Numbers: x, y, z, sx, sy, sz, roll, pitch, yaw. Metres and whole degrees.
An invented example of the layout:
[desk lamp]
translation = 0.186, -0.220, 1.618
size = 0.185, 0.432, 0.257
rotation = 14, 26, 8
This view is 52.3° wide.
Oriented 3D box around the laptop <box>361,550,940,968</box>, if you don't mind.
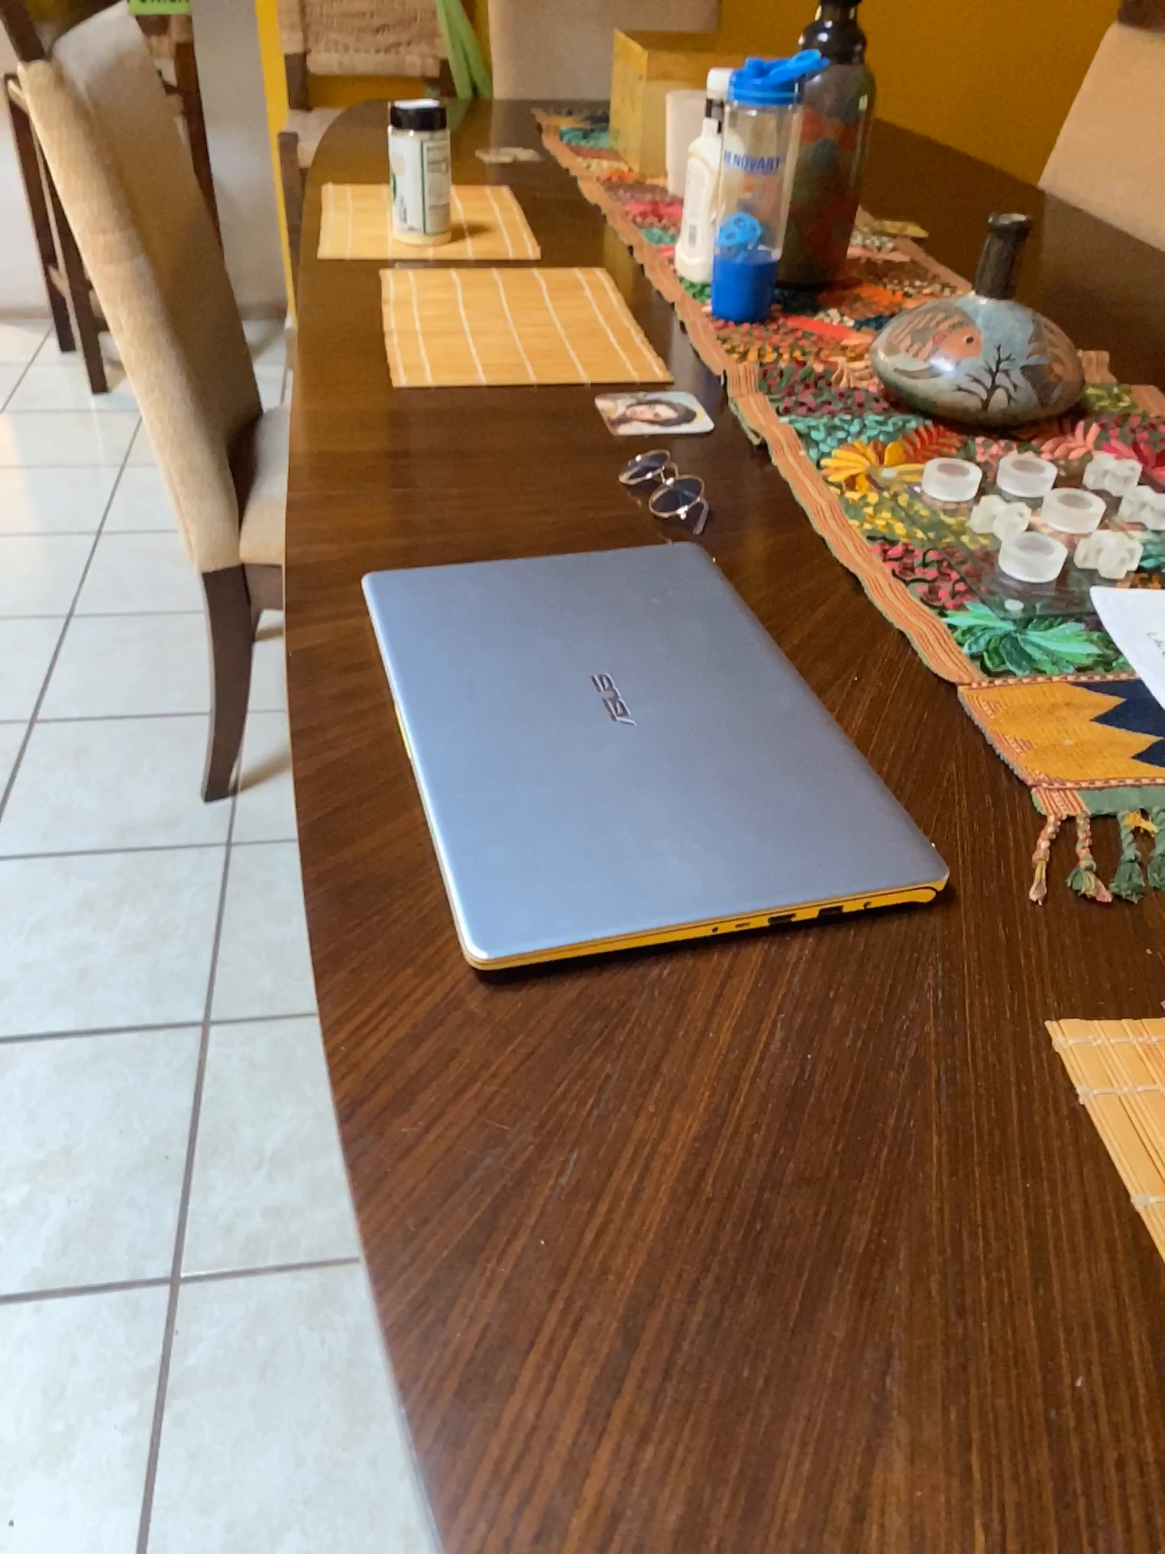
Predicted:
[laptop]
translation = 0.014, -0.042, 0.739
size = 0.246, 0.001, 0.385
rotation = -8, 40, -14
